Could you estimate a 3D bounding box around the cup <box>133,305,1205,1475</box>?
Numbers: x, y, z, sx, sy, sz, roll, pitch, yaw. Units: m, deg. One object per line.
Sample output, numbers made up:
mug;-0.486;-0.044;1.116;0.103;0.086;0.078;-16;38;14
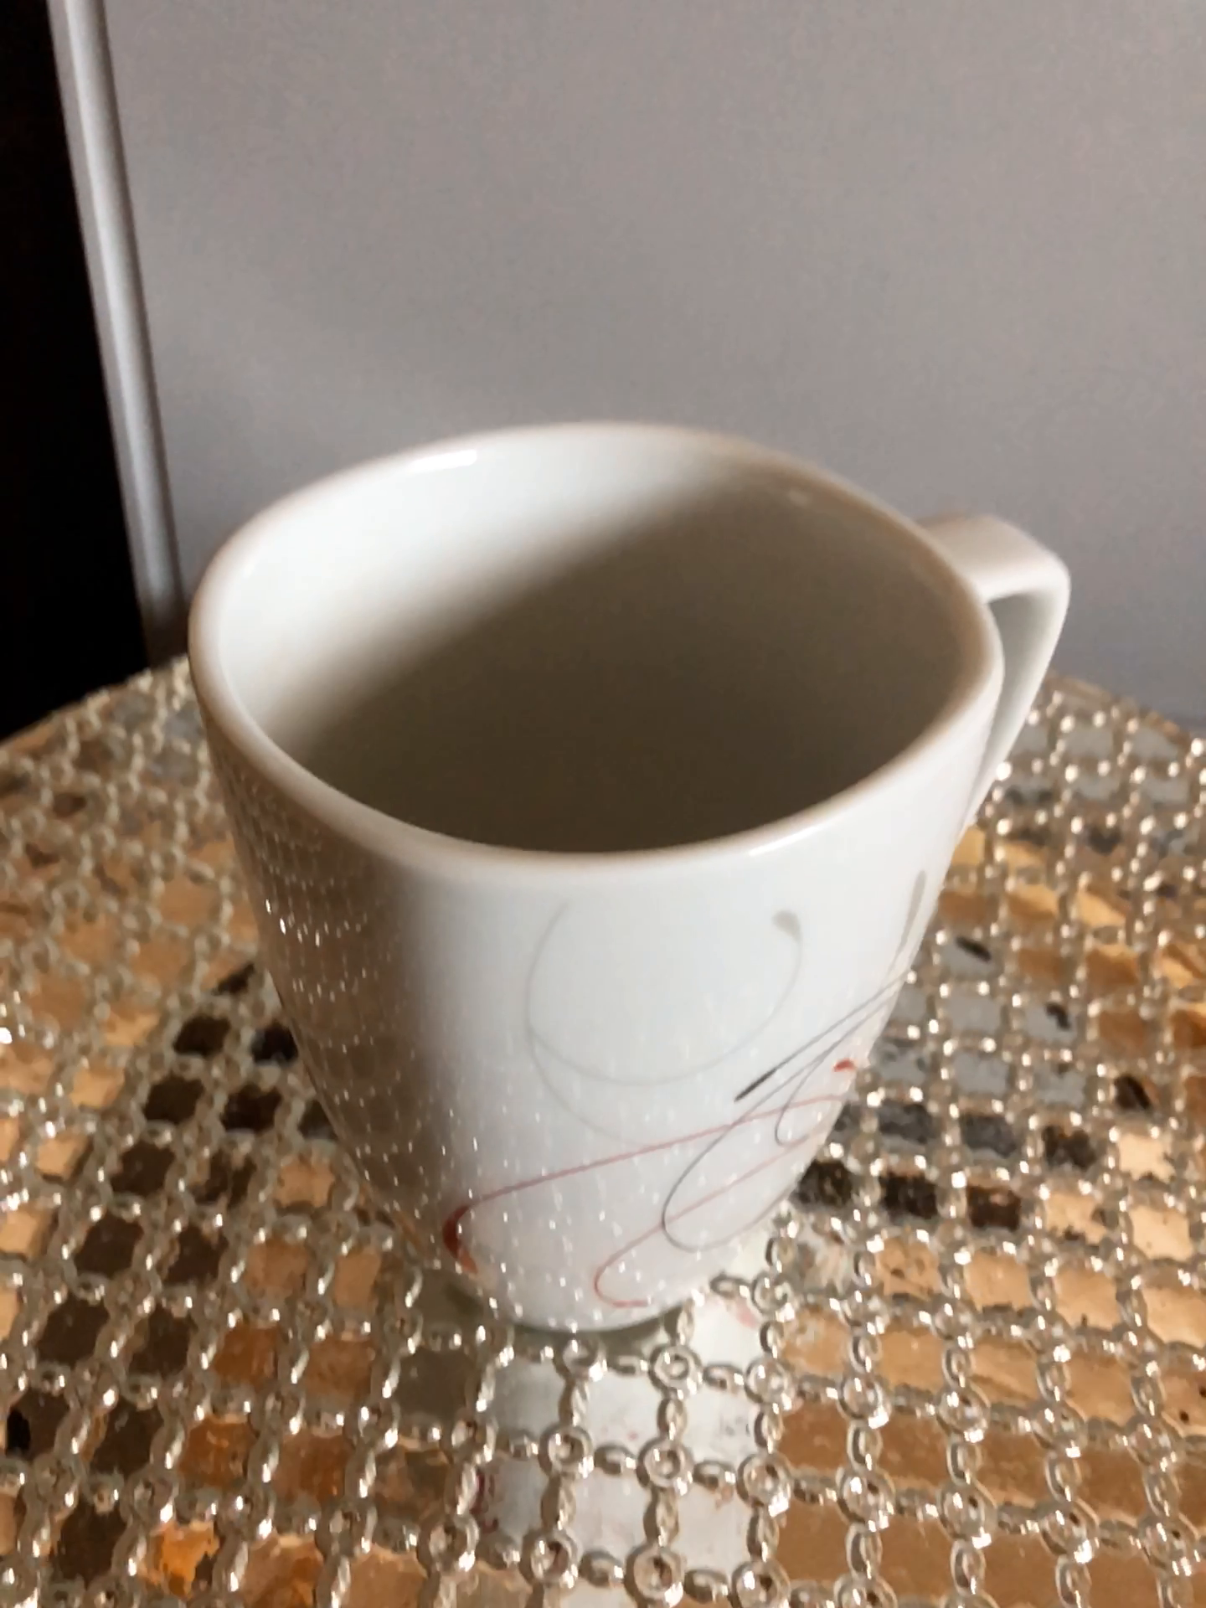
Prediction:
cup;0.013;0.004;0.191;0.110;0.100;0.080;-28;49;-31
